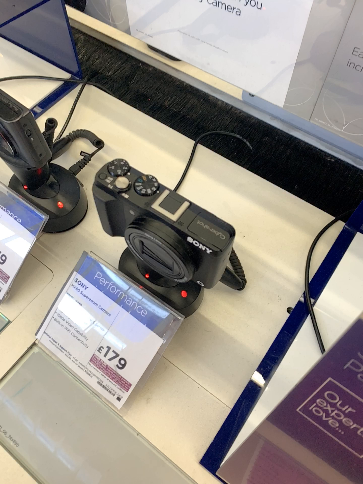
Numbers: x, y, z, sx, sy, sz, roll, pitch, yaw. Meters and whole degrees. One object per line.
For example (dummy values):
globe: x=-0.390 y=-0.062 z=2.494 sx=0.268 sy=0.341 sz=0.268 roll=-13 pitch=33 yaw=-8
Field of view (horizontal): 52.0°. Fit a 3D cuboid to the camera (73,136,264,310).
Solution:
camera: x=-0.009 y=-0.011 z=0.250 sx=0.110 sy=0.070 sz=0.040 roll=31 pitch=66 yaw=16
